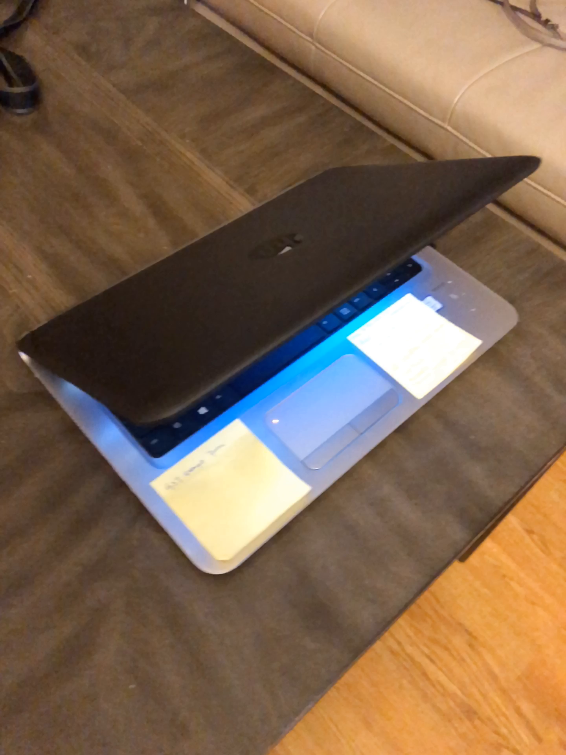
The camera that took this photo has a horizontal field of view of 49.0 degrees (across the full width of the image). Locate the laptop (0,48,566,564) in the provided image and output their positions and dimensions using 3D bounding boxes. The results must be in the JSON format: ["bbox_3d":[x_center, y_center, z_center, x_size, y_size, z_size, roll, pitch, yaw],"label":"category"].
[{"bbox_3d":[0.003,-0.079,0.445,0.324,0.131,0.226,-35,65,-27],"label":"laptop"}]
